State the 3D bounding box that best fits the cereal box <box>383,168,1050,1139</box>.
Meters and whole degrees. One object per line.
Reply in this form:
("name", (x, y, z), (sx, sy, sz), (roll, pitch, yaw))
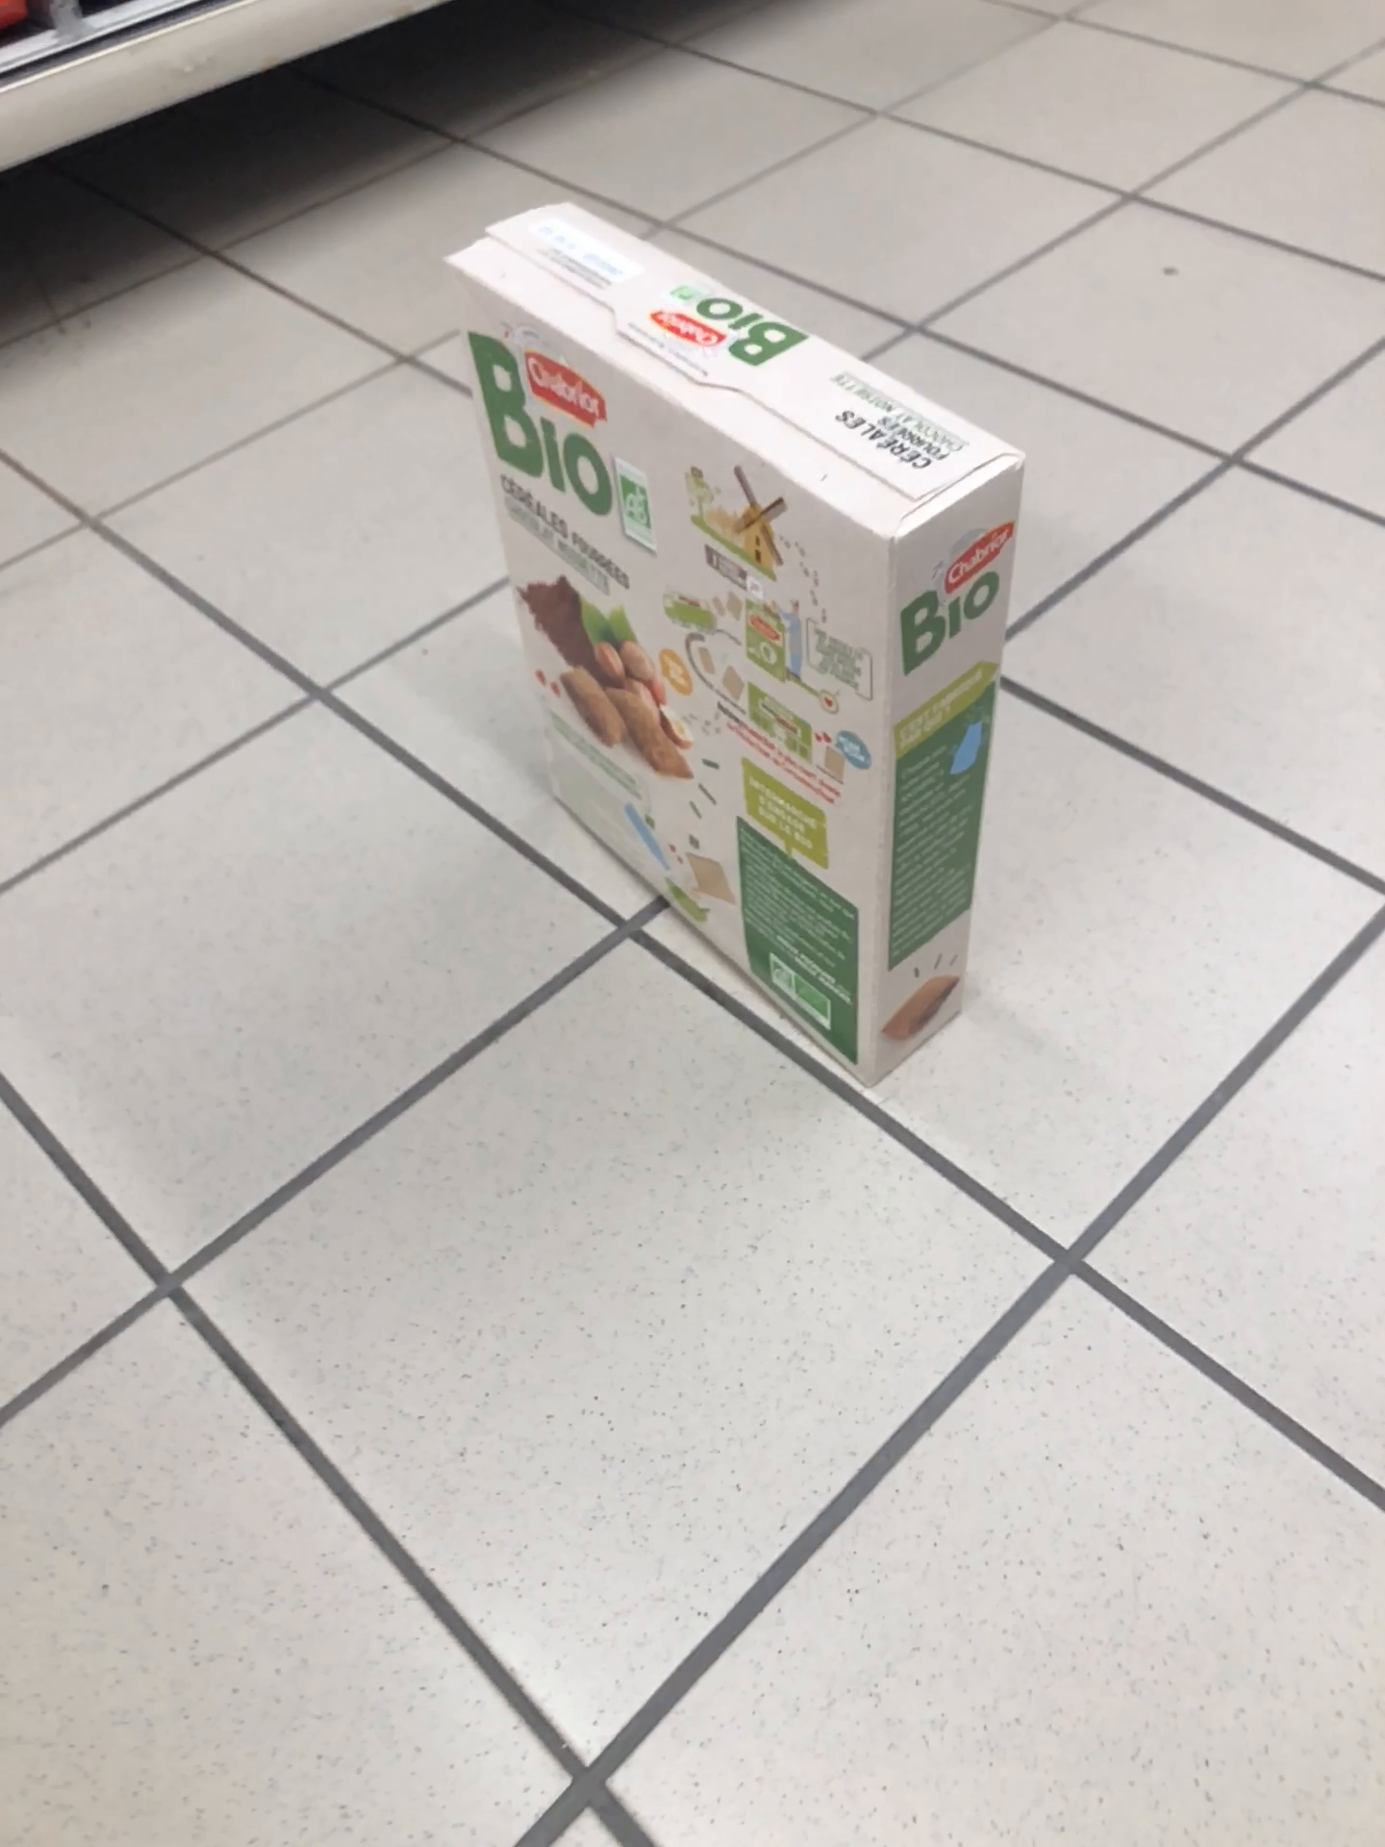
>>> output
("cereal box", (0.002, -0.081, 0.496), (0.060, 0.239, 0.210), (-32, 54, -22))
